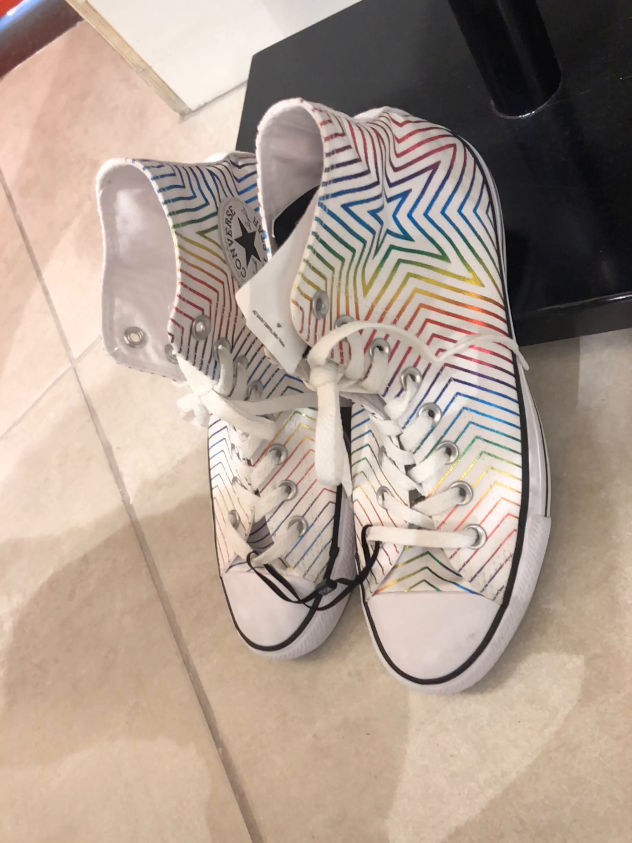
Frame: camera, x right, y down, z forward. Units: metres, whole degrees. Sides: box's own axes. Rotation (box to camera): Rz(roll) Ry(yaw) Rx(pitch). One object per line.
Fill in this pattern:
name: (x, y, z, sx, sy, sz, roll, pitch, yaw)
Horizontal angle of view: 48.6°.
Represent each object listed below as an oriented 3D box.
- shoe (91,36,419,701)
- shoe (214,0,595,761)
shoe: (-0.032, -0.022, 0.404, 0.120, 0.140, 0.300, -5, 85, 33)
shoe: (0.051, -0.024, 0.340, 0.120, 0.139, 0.300, -5, 78, 33)
